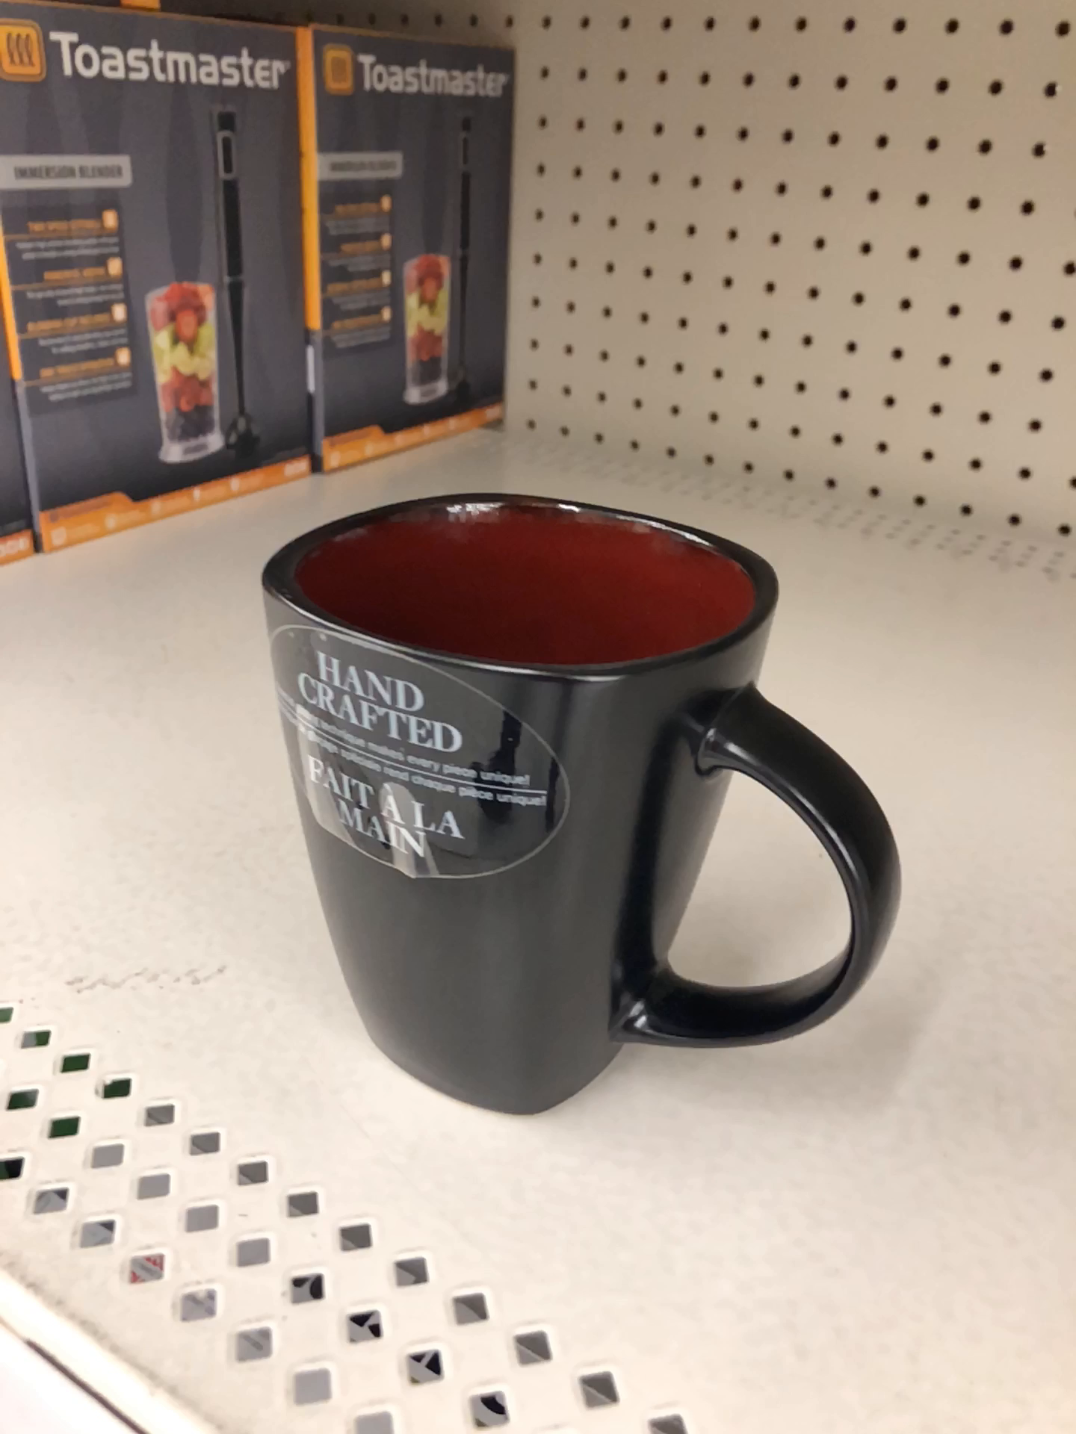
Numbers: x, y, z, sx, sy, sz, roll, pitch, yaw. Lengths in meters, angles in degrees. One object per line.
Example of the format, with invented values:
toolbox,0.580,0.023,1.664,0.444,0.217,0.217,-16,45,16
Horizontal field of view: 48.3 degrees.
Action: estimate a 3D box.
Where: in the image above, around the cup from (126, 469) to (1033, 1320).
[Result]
cup,0.009,0.020,0.250,0.143,0.099,0.100,17,30,27
